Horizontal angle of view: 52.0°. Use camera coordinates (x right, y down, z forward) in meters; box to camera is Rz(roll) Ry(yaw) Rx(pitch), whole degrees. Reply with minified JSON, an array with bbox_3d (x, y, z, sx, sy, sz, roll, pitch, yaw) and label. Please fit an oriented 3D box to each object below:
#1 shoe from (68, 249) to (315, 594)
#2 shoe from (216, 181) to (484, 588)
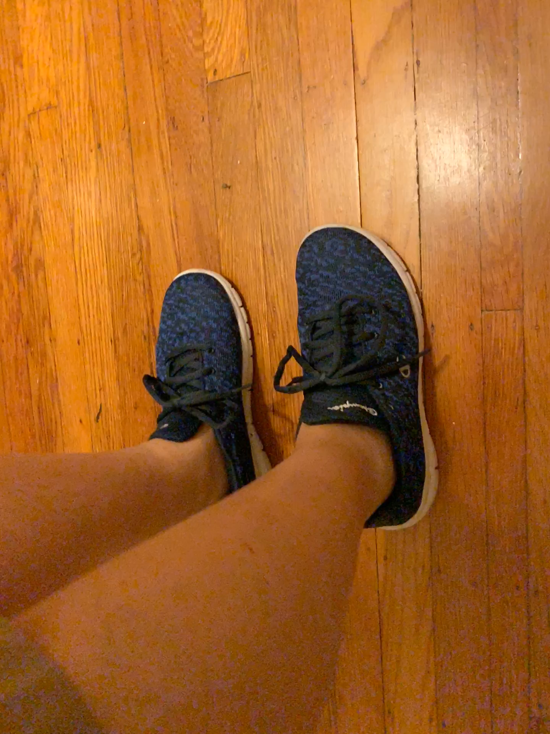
[{"bbox_3d":[-0.073,0.047,0.556,0.116,0.149,0.290,-12,91,28],"label":"shoe"},{"bbox_3d":[0.069,0.015,0.468,0.118,0.129,0.280,-15,90,28],"label":"shoe"}]
